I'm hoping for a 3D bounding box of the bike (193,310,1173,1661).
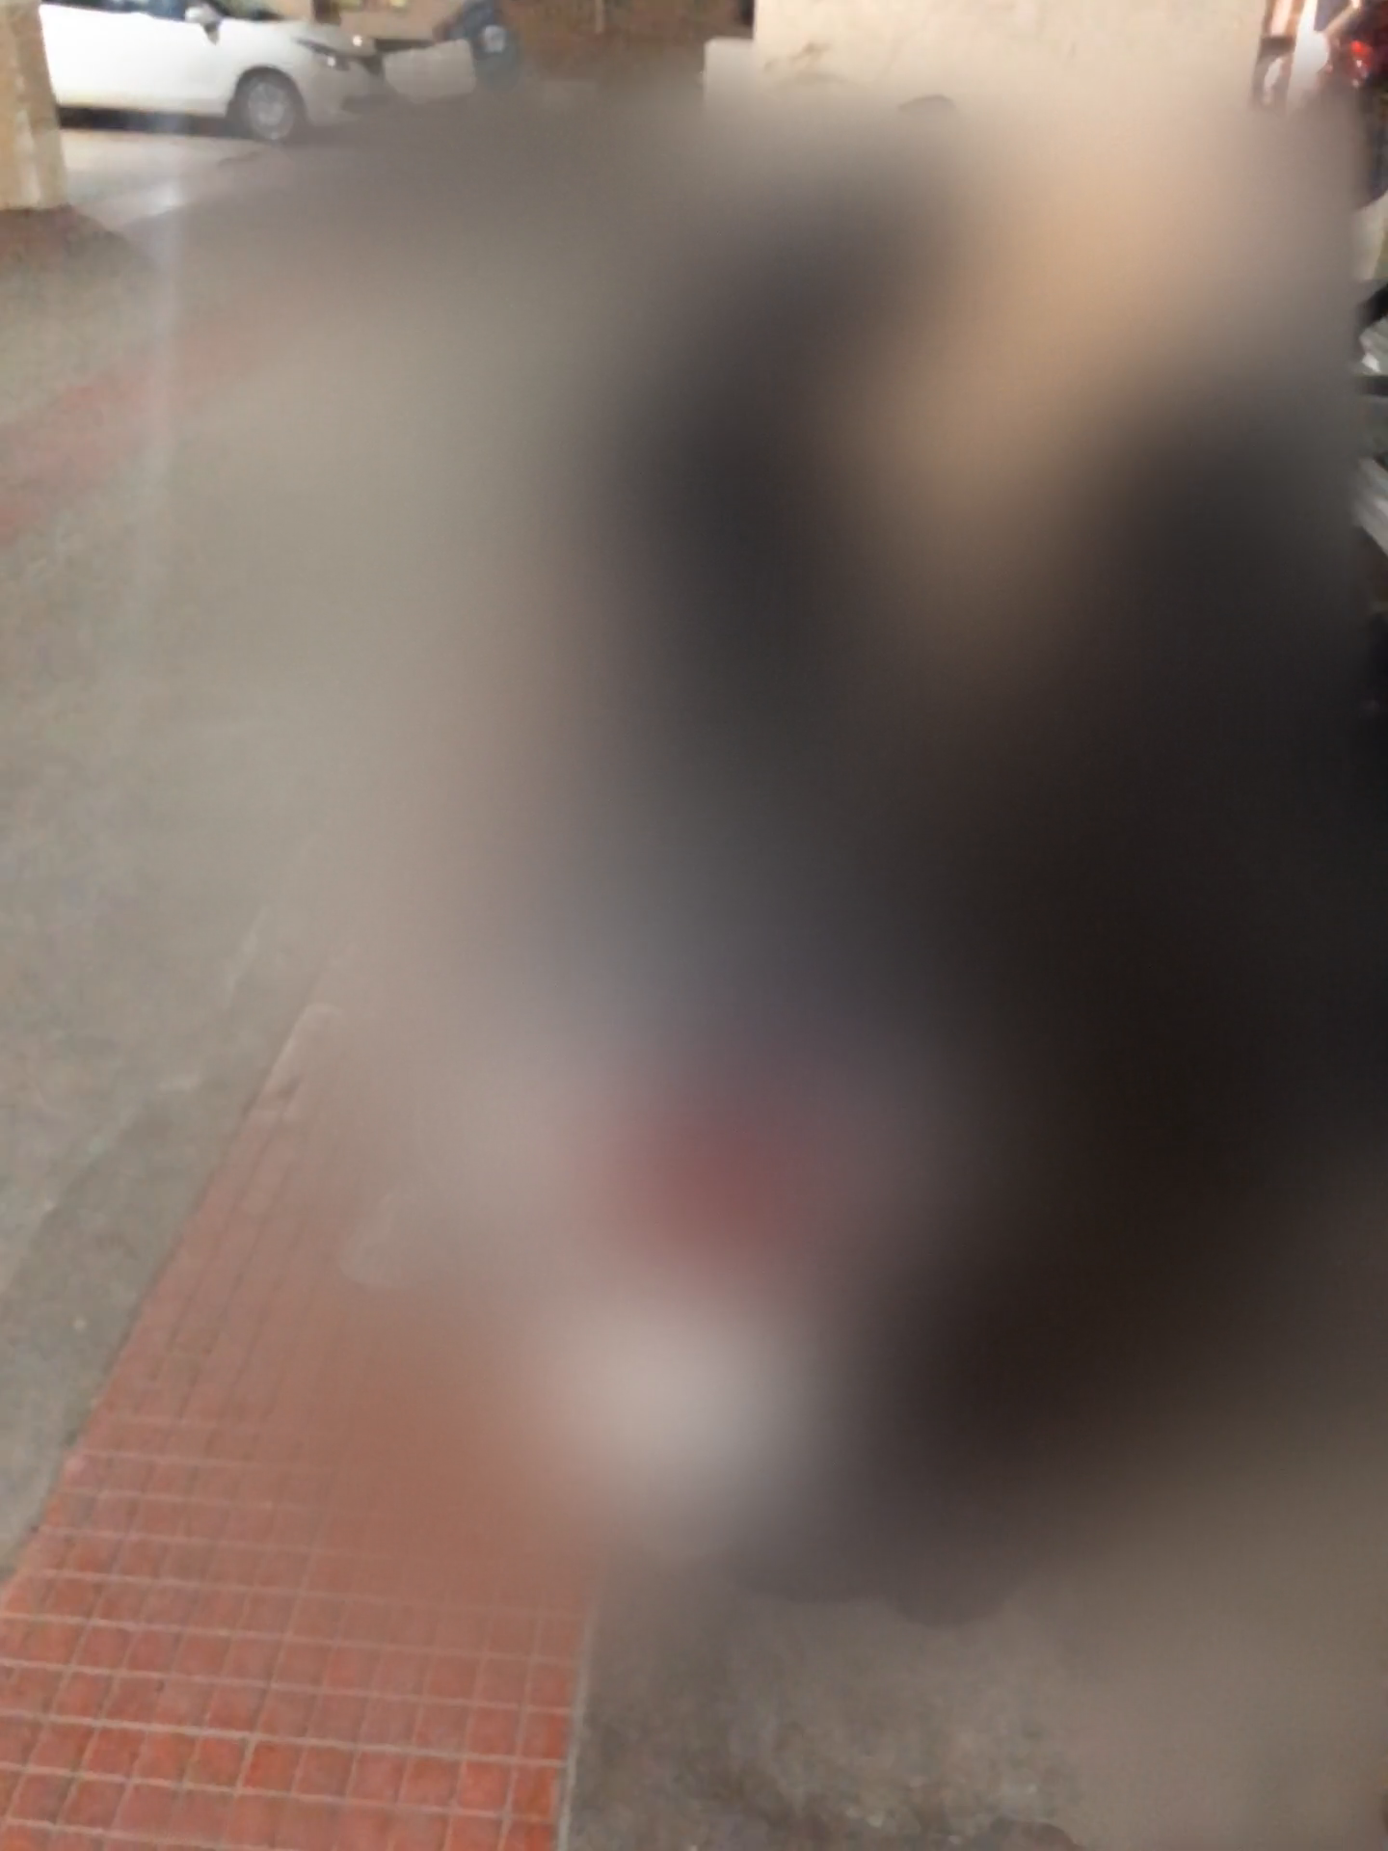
[{"bbox_3d":[-0.065,-0.114,1.850,0.594,0.988,1.502,1,29,-3],"label":"bike"}]
